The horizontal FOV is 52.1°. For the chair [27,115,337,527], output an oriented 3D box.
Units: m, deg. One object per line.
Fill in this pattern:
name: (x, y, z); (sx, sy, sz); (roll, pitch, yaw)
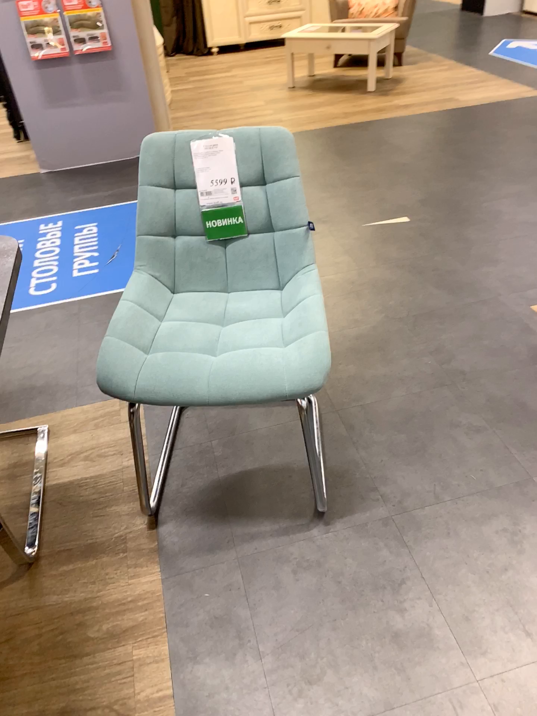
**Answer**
chair: (-0.110, -0.072, 1.362); (0.510, 0.825, 0.553); (-3, 38, 3)

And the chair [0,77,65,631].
chair: (-0.891, 0.021, 1.209); (0.510, 1.004, 0.573); (-10, 38, -6)
